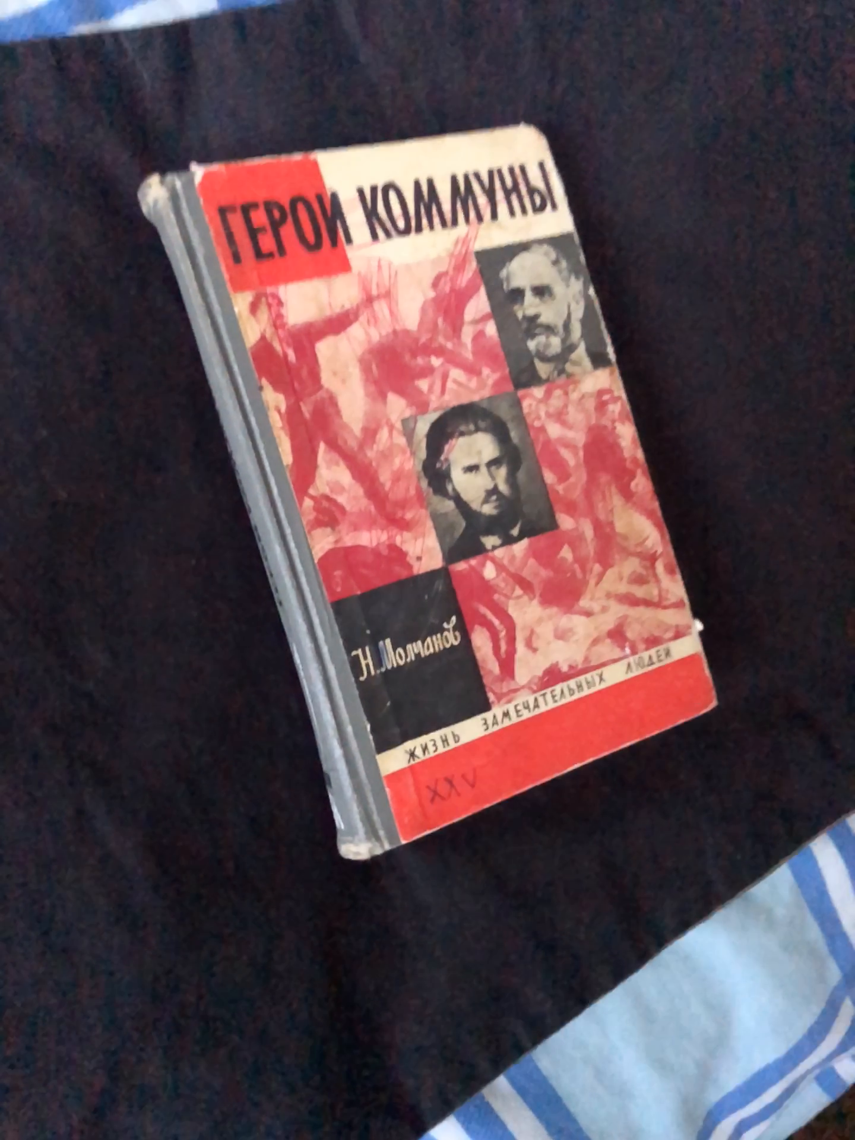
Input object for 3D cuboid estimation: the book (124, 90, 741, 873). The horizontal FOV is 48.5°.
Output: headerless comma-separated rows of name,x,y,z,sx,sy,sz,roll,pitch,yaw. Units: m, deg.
book,0.001,-0.031,0.300,0.128,0.060,0.200,-19,92,-21
